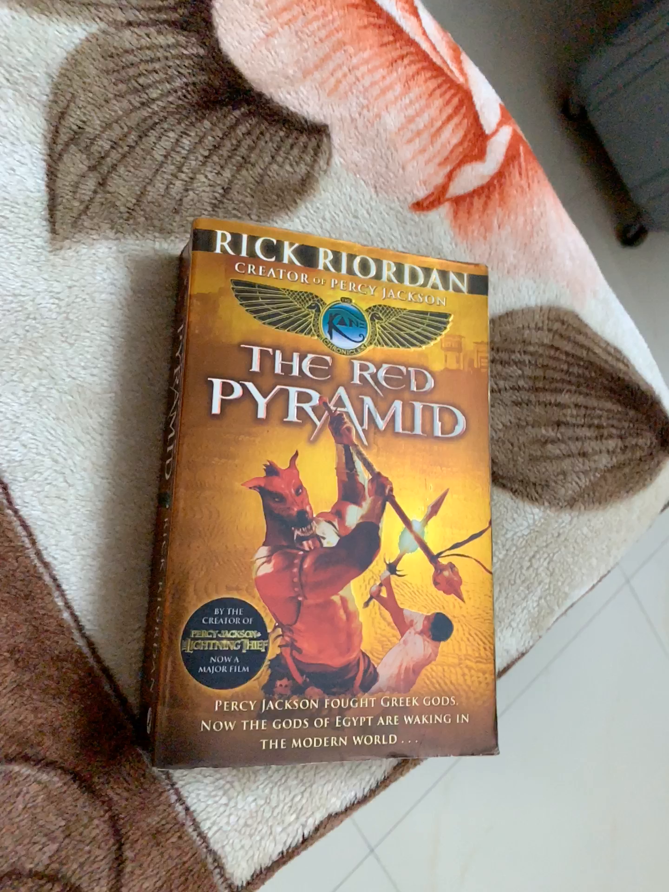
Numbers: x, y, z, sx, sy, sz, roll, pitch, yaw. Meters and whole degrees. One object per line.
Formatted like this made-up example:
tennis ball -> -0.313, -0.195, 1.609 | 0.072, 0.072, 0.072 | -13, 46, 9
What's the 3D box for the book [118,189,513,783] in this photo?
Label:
book -> -0.004, 0.015, 0.298 | 0.150, 0.040, 0.220 | 6, 76, -20
